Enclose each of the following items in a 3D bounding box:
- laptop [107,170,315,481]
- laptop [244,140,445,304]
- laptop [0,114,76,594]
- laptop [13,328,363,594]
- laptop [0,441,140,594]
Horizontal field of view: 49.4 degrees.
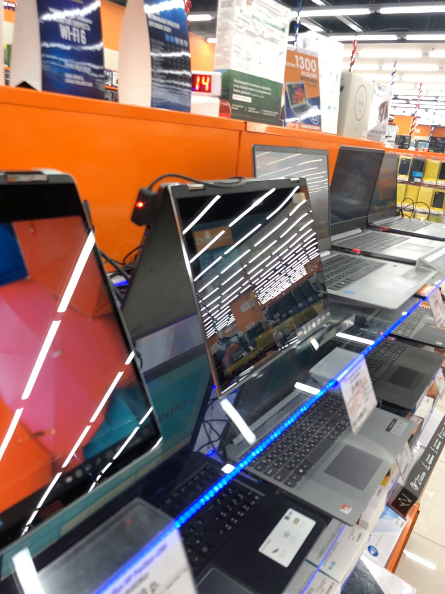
[{"bbox_3d":[-0.009,0.028,0.627,0.181,0.142,0.278,-30,-6,39],"label":"laptop"},{"bbox_3d":[0.254,-0.158,0.905,0.272,0.209,0.351,17,20,28],"label":"laptop"},{"bbox_3d":[-0.247,0.087,0.335,0.182,0.149,0.300,-26,-4,35],"label":"laptop"},{"bbox_3d":[-0.022,0.219,0.596,0.239,0.223,0.361,16,20,31],"label":"laptop"},{"bbox_3d":[-0.248,0.312,0.270,0.223,0.202,0.364,21,24,31],"label":"laptop"}]
